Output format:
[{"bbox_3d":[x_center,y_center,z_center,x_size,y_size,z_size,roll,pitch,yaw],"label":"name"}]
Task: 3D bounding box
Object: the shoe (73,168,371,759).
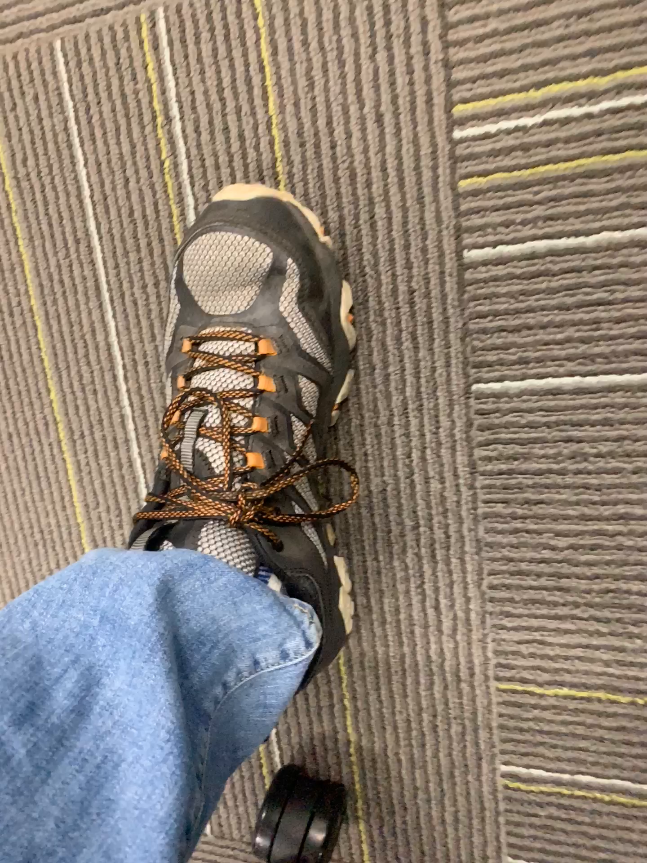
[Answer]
[{"bbox_3d":[-0.048,0.021,0.409,0.126,0.095,0.324,3,106,19],"label":"shoe"}]
